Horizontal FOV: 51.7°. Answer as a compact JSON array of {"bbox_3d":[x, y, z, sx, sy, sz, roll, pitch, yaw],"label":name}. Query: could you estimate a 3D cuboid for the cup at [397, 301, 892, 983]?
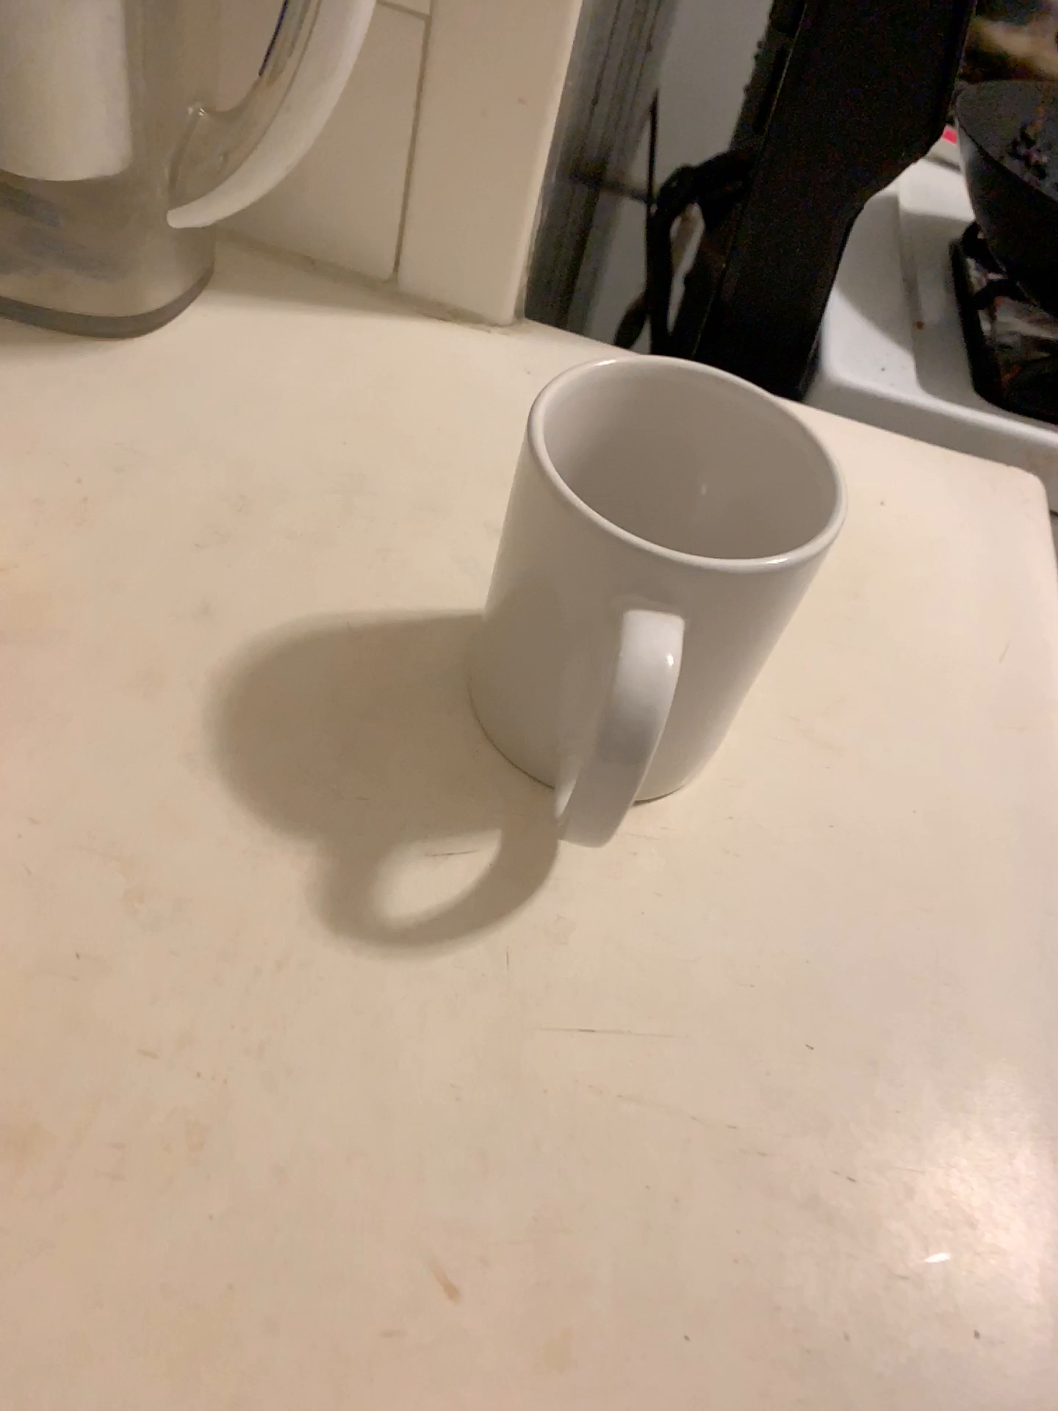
[{"bbox_3d":[0.025,-0.019,0.307,0.090,0.110,0.141,12,48,-6],"label":"cup"}]
